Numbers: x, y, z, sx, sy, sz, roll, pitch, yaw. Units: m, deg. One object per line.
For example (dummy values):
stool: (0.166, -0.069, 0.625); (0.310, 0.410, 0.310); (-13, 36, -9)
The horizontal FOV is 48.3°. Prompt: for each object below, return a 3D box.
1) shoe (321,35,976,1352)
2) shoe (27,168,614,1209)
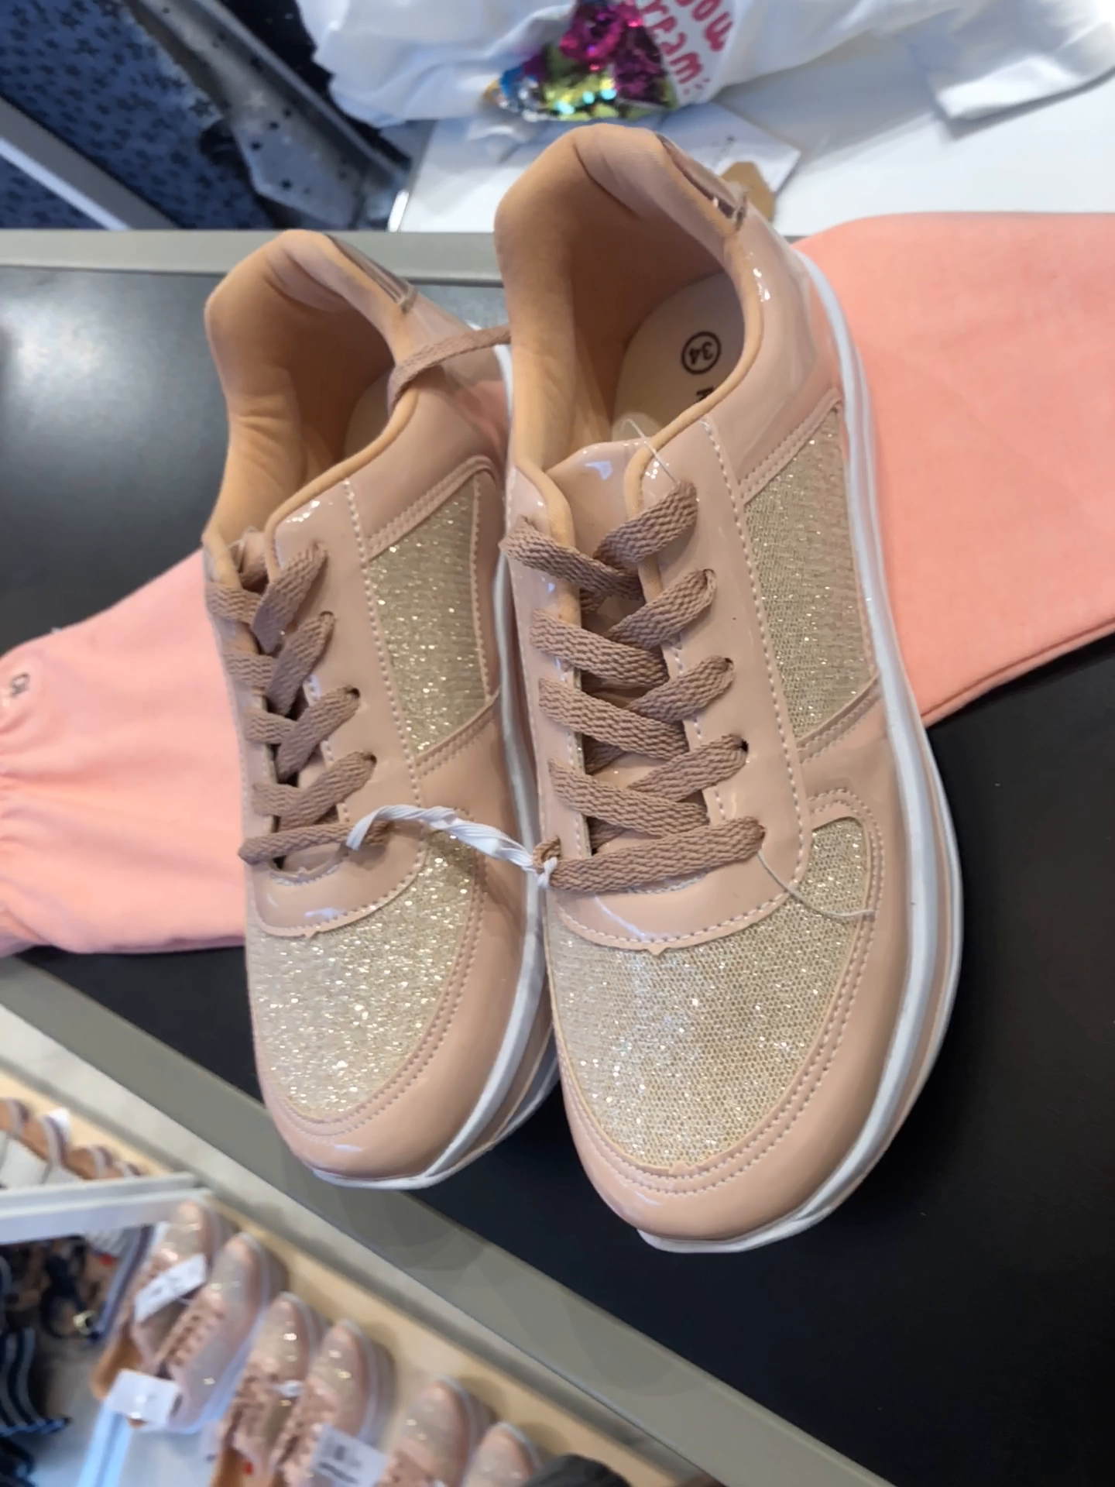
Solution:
shoe: (0.022, -0.007, 0.259); (0.090, 0.090, 0.220); (-8, 73, 31)
shoe: (-0.050, -0.006, 0.316); (0.090, 0.100, 0.220); (-8, 73, 31)
